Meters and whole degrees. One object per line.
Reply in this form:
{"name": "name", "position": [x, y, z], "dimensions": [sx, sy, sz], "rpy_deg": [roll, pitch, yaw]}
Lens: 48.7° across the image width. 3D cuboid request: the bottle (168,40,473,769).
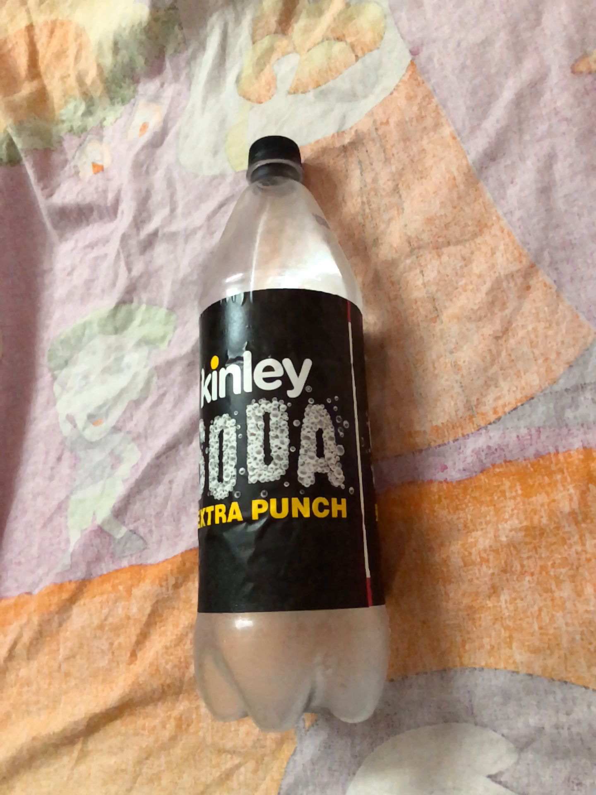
{"name": "bottle", "position": [0.008, 0.000, 0.301], "dimensions": [0.090, 0.080, 0.280], "rpy_deg": [-10, 77, 23]}
